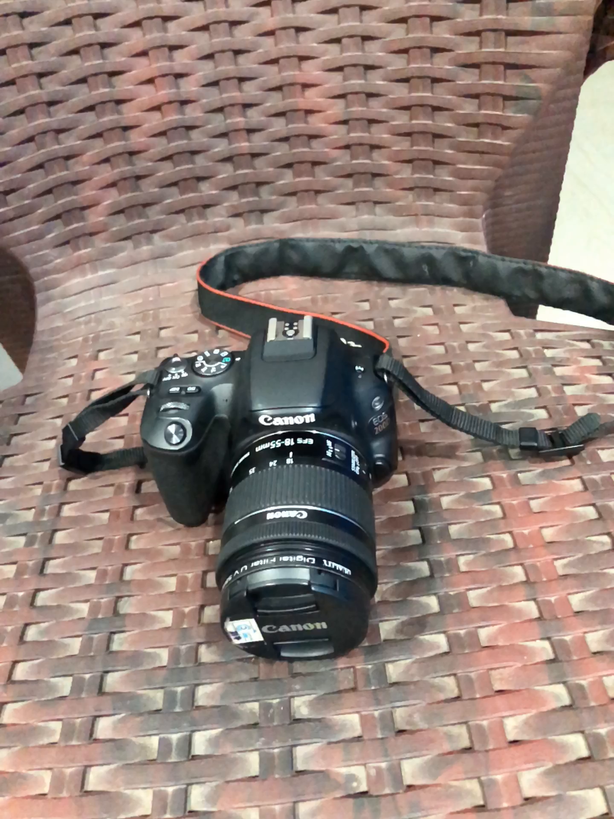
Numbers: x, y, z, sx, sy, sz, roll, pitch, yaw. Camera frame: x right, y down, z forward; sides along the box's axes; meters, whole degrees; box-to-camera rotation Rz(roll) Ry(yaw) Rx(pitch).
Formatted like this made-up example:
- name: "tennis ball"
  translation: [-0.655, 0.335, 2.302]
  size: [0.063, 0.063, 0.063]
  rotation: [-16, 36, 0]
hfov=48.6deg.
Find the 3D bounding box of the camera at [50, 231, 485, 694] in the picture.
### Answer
- name: "camera"
  translation: [-0.008, 0.024, 0.311]
  size: [0.140, 0.109, 0.171]
  rotation: [-4, 53, 5]
